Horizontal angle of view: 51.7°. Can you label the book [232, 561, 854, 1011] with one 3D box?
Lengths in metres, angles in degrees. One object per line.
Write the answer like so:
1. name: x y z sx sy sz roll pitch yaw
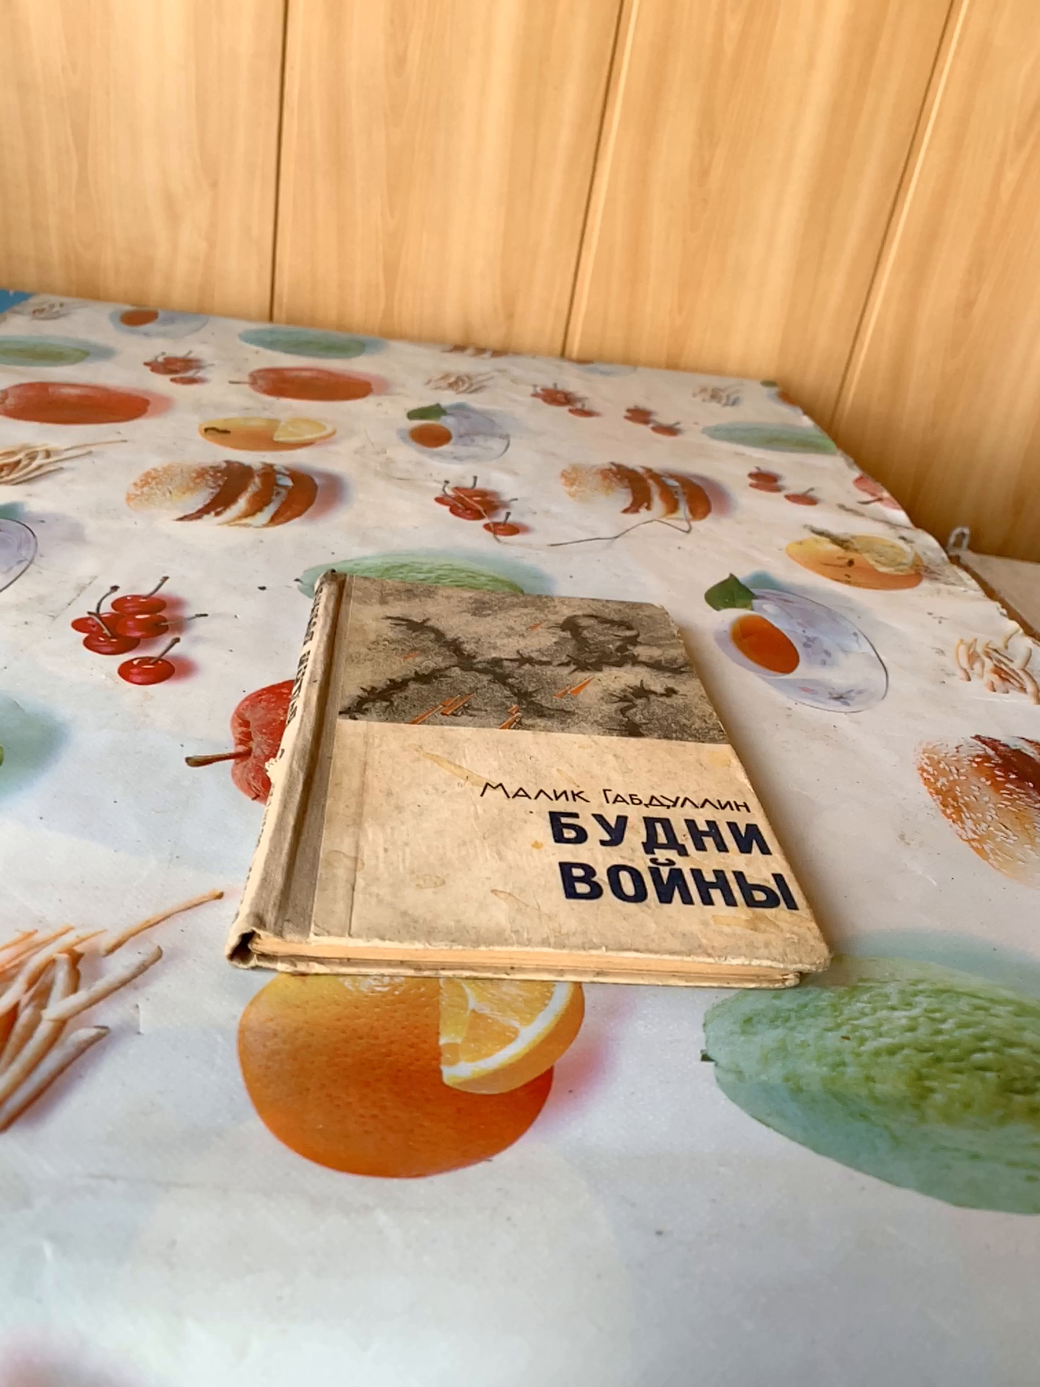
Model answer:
1. book: -0.001 0.012 0.322 0.136 0.018 0.197 6 28 -8
